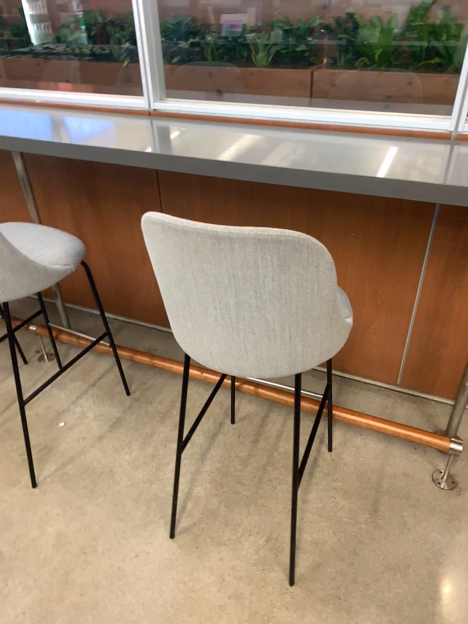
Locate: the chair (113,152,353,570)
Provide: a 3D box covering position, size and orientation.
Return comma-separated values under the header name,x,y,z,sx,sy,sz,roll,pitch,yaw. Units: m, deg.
name,x,y,z,sx,sy,sz,roll,pitch,yaw
chair,0.050,0.154,1.350,0.410,1.034,0.513,8,35,14
